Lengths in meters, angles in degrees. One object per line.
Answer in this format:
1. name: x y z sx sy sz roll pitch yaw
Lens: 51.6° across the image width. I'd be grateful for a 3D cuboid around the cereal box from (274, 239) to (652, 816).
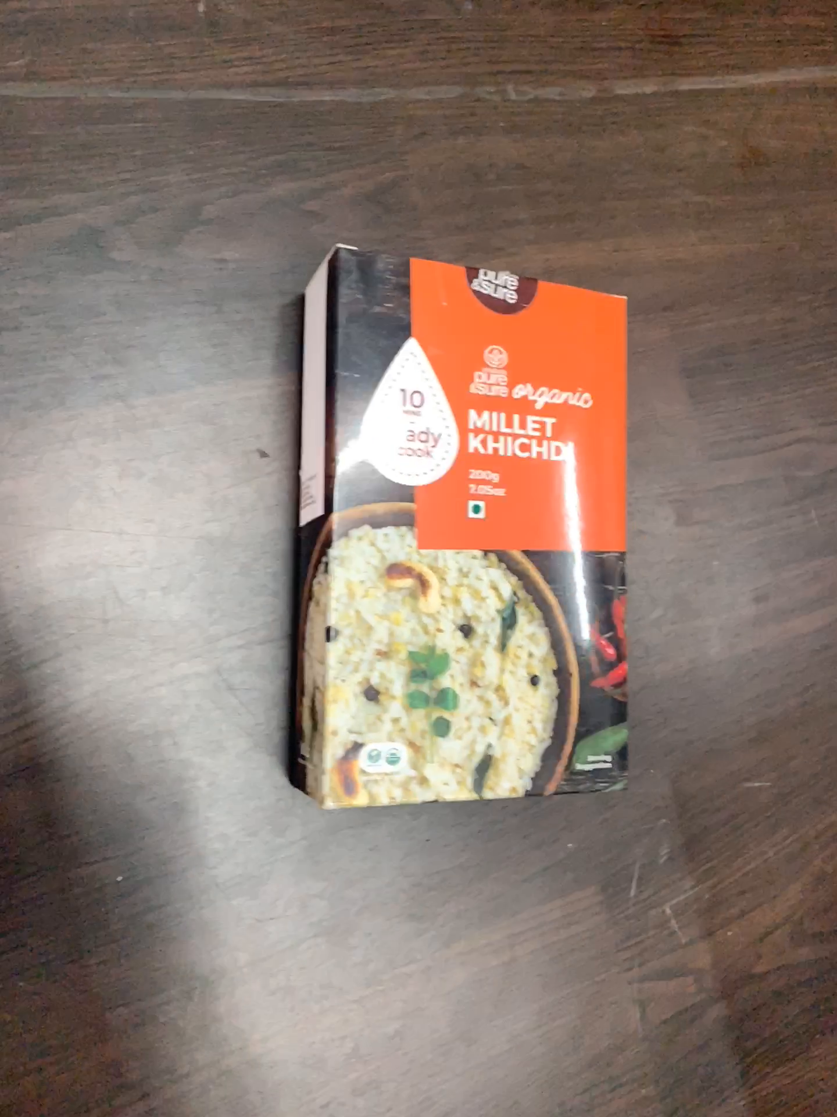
1. cereal box: 0.016 -0.007 0.276 0.110 0.040 0.160 3 84 -21
